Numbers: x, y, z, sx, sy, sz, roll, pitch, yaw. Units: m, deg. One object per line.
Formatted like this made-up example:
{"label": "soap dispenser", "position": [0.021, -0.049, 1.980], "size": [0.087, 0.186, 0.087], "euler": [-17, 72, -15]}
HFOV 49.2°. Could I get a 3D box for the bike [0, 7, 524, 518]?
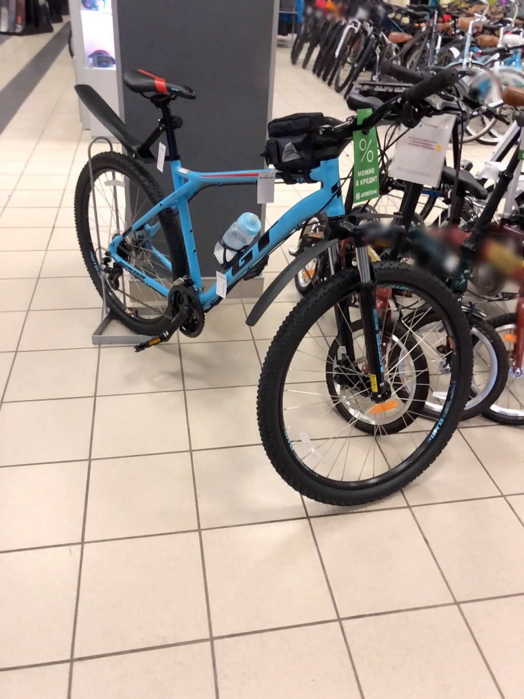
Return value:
{"label": "bike", "position": [-0.079, -0.398, 1.899], "size": [1.612, 1.084, 0.694], "euler": [23, 37, 24]}
